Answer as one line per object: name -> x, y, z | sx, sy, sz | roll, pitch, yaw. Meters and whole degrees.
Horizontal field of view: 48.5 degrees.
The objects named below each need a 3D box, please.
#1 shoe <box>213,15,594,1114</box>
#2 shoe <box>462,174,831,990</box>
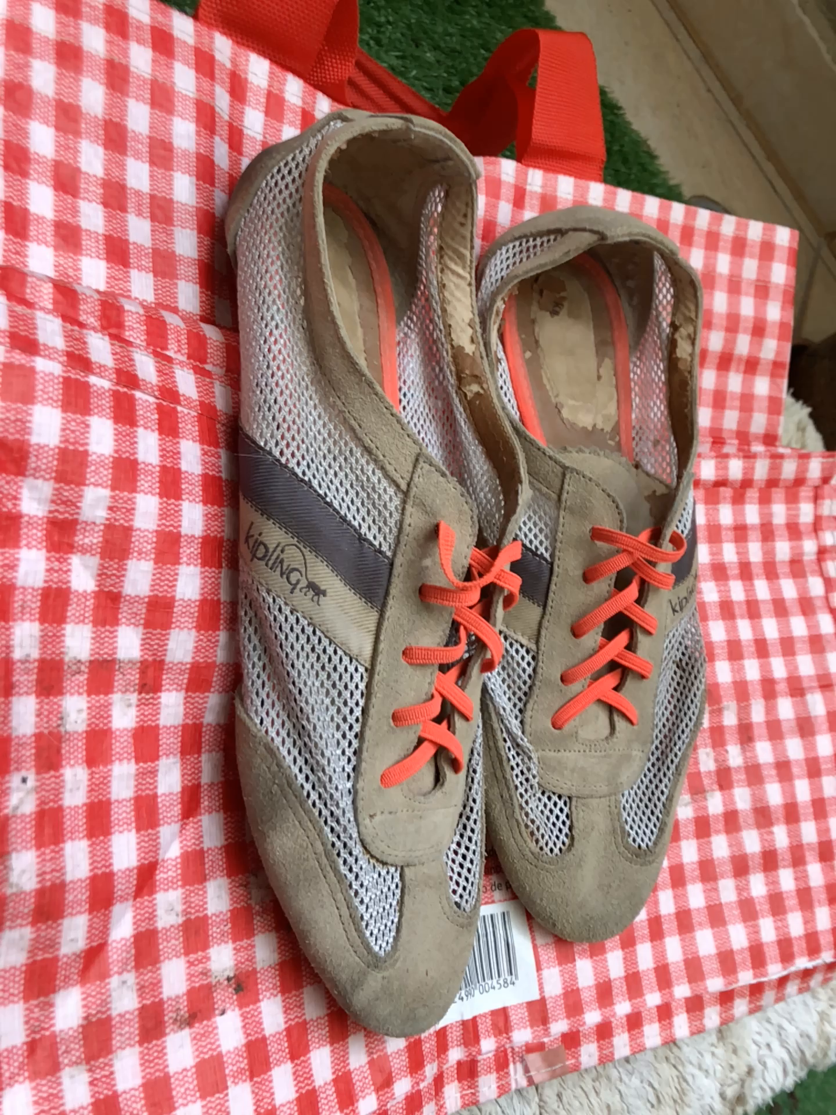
shoe -> 0.001, 0.008, 0.247 | 0.101, 0.050, 0.240 | -1, 92, -55
shoe -> 0.073, 0.008, 0.303 | 0.100, 0.050, 0.230 | 1, 92, -23
